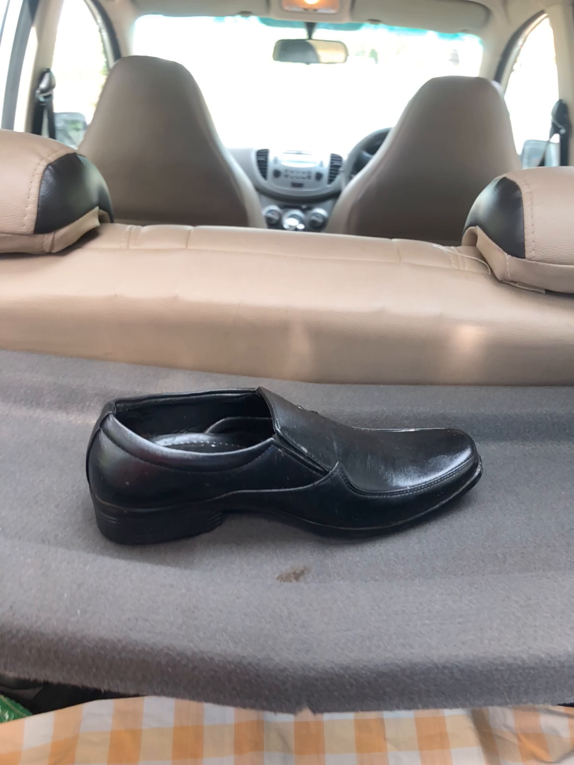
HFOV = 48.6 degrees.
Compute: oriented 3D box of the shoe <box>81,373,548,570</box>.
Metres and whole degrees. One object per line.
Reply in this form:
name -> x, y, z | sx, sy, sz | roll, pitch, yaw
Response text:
shoe -> 0.016, 0.055, 0.457 | 0.300, 0.080, 0.100 | -2, 26, -12
